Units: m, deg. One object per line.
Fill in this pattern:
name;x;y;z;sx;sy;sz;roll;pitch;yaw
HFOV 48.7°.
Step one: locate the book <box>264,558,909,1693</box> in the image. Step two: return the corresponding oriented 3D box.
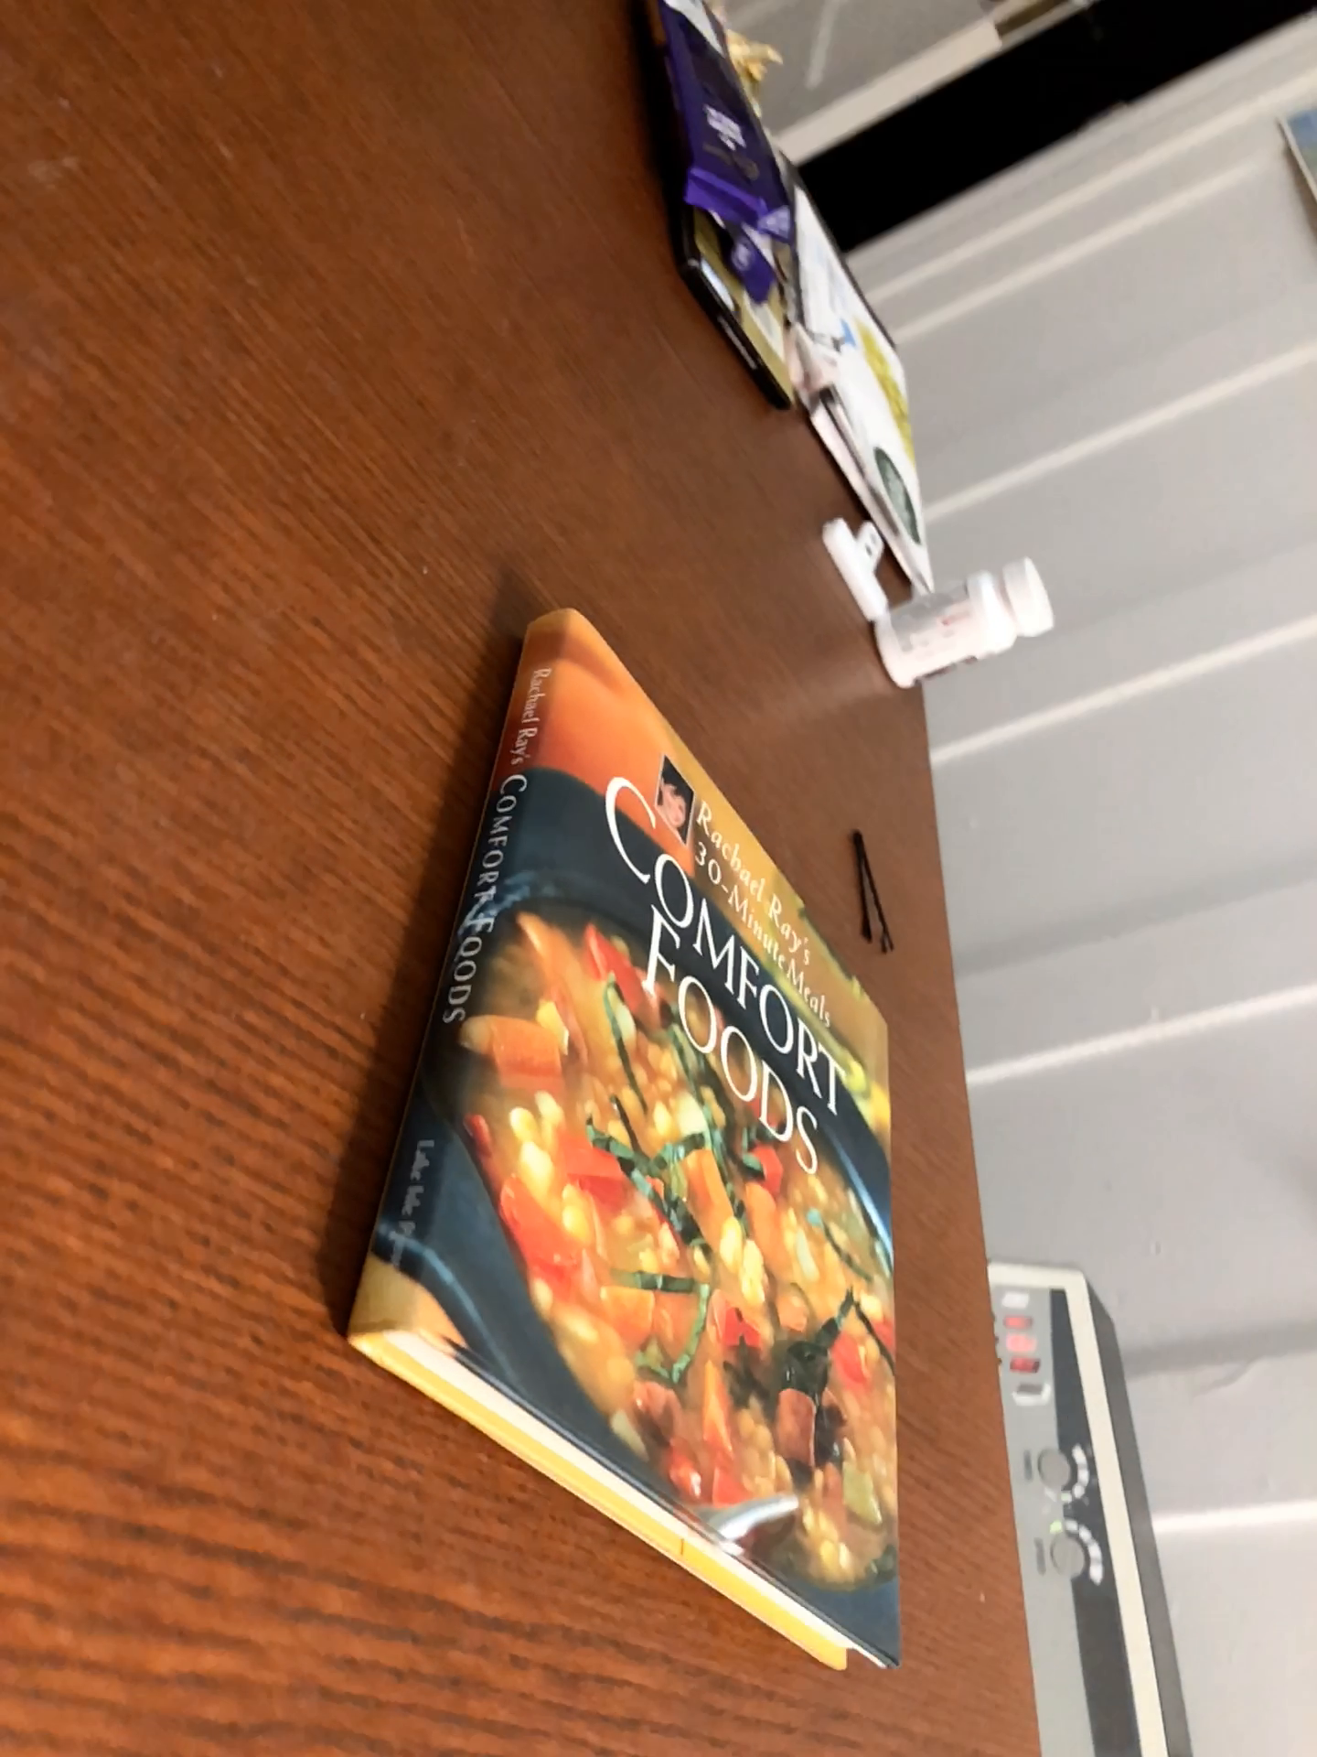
book;0.007;0.061;0.369;0.200;0.030;0.211;51;32;-37
